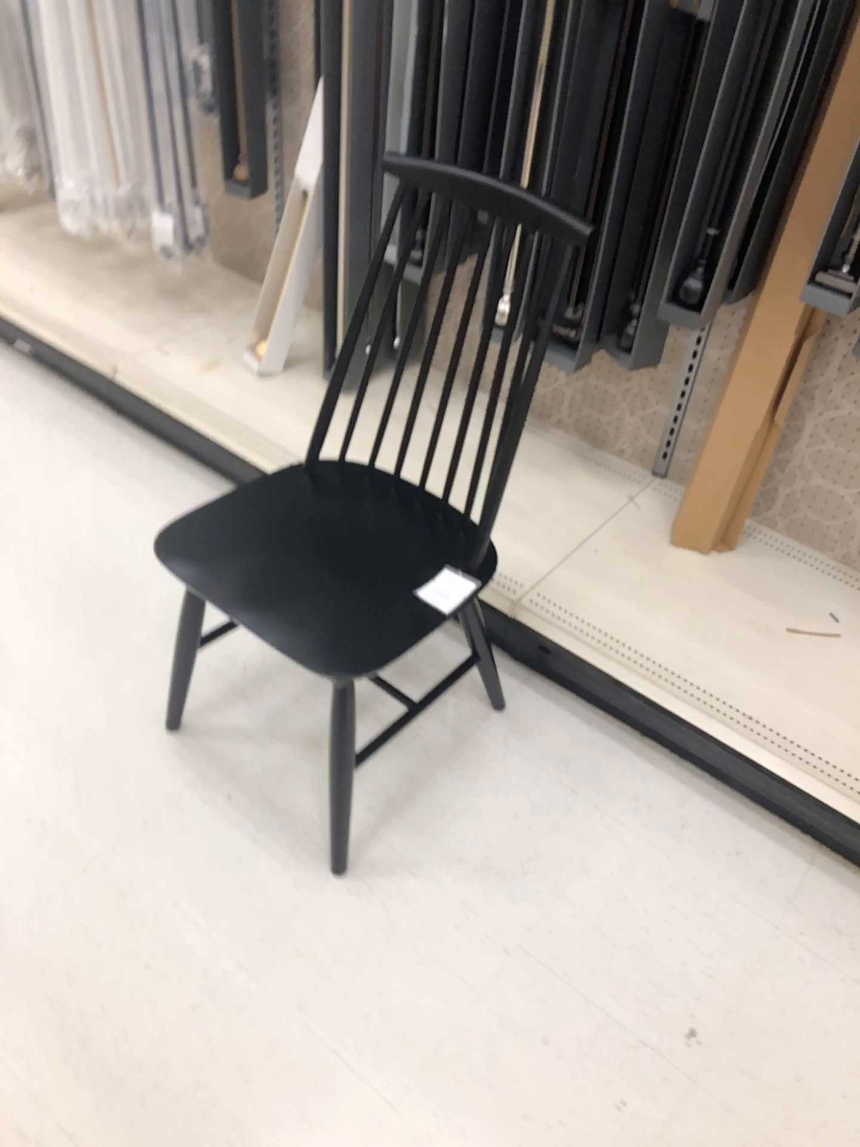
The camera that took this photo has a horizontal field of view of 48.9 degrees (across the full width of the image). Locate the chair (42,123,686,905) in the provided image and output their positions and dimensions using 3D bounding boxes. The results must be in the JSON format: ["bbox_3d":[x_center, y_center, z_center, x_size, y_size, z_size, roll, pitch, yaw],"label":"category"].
[{"bbox_3d":[-0.091,-0.093,1.468,0.518,0.910,0.610,31,47,26],"label":"chair"}]
